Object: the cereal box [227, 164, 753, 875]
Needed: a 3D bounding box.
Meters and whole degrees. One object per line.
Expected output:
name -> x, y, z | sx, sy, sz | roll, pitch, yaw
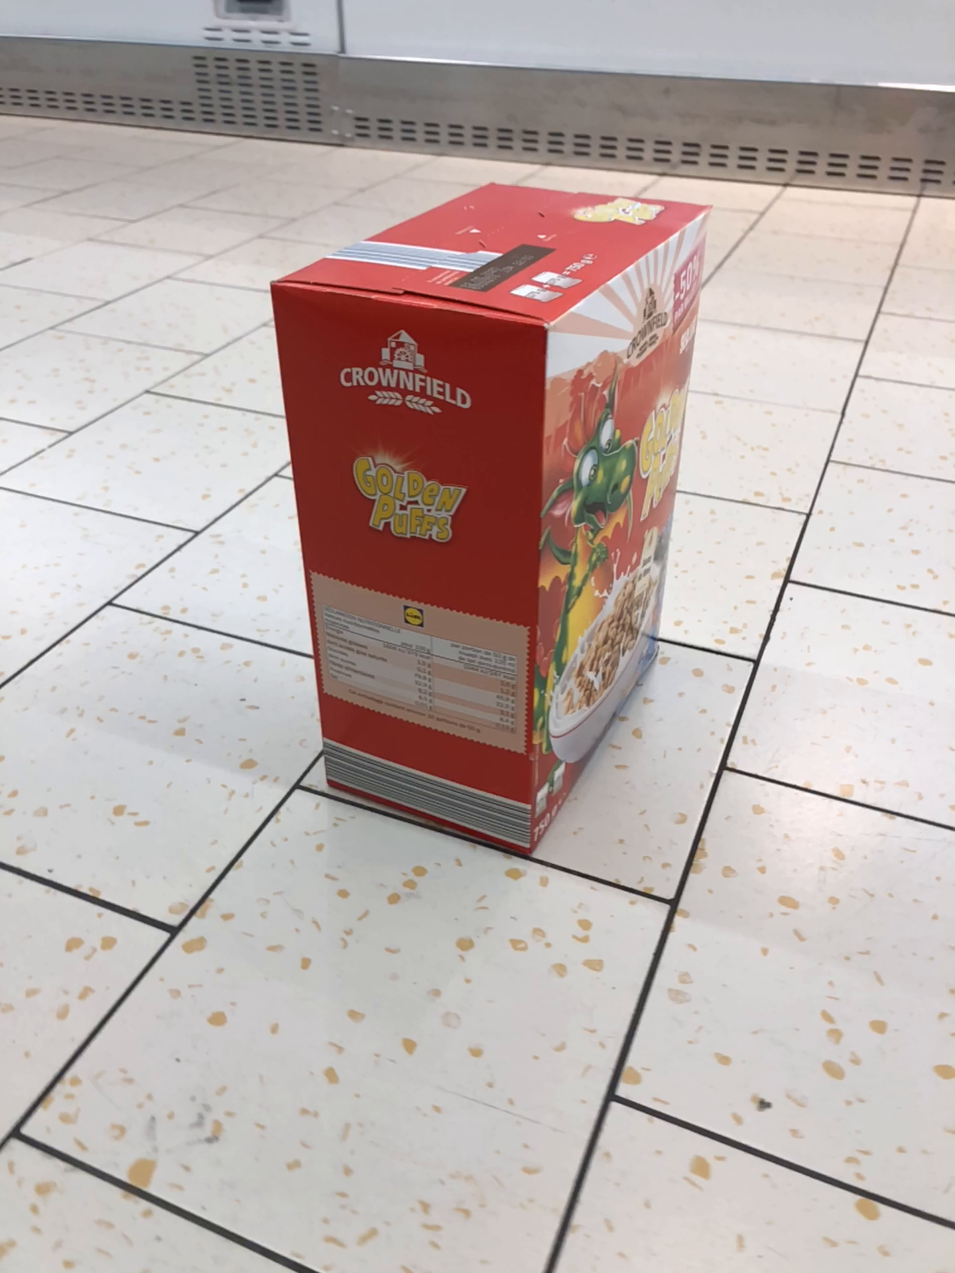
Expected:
cereal box -> 0.018, -0.066, 0.497 | 0.140, 0.248, 0.201 | 15, 37, 22
